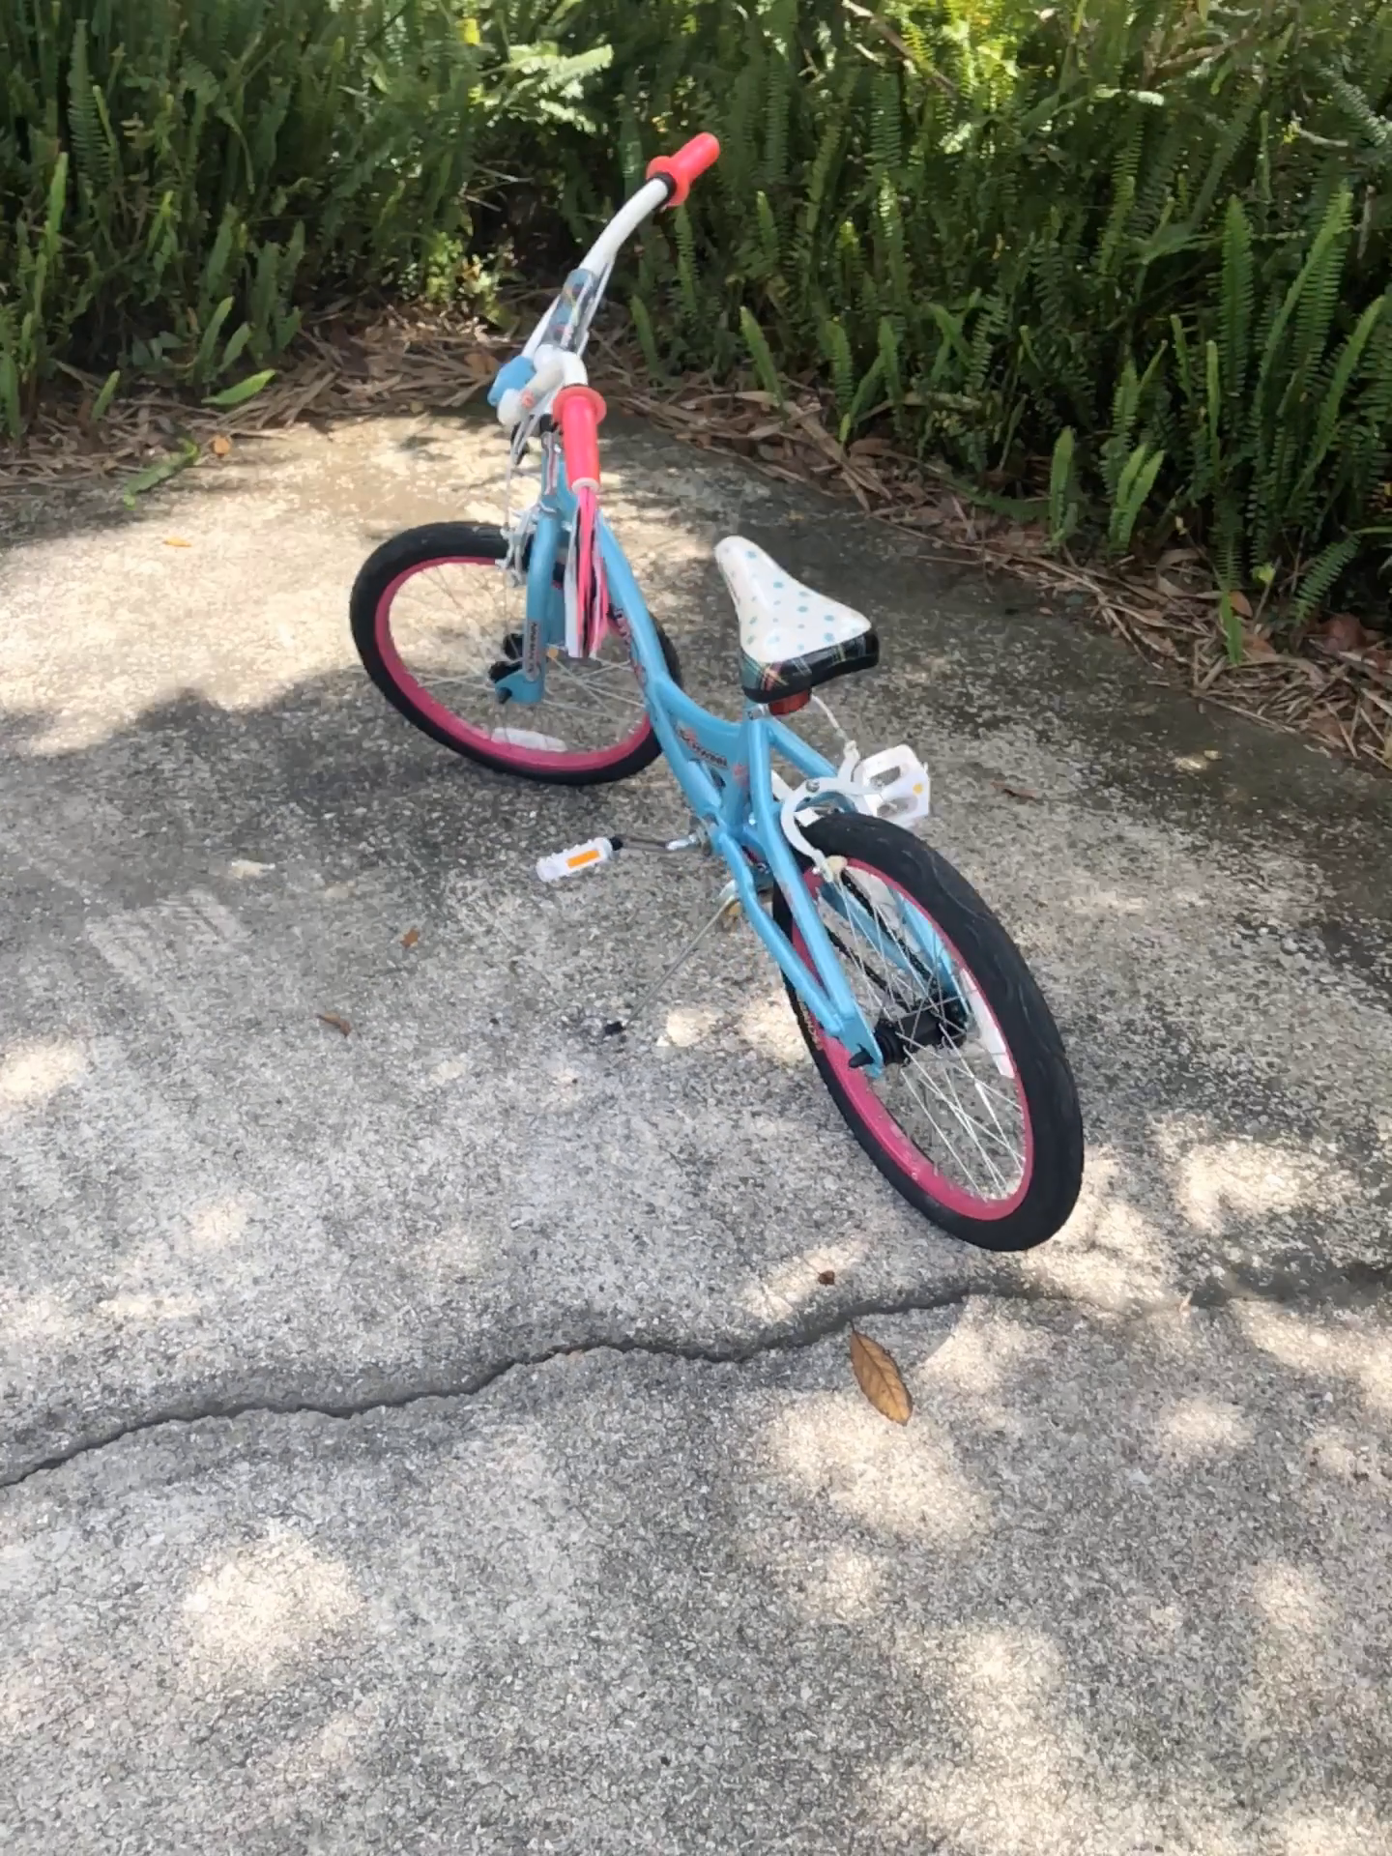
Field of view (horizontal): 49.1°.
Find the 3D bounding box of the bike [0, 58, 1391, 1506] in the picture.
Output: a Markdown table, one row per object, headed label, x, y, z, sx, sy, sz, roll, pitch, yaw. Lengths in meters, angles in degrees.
| label | x | y | z | sx | sy | sz | roll | pitch | yaw |
| --- | --- | --- | --- | --- | --- | --- | --- | --- | --- |
| bike | -0.107 | -0.285 | 1.658 | 0.701 | 0.923 | 1.313 | -23 | 46 | -32 |
